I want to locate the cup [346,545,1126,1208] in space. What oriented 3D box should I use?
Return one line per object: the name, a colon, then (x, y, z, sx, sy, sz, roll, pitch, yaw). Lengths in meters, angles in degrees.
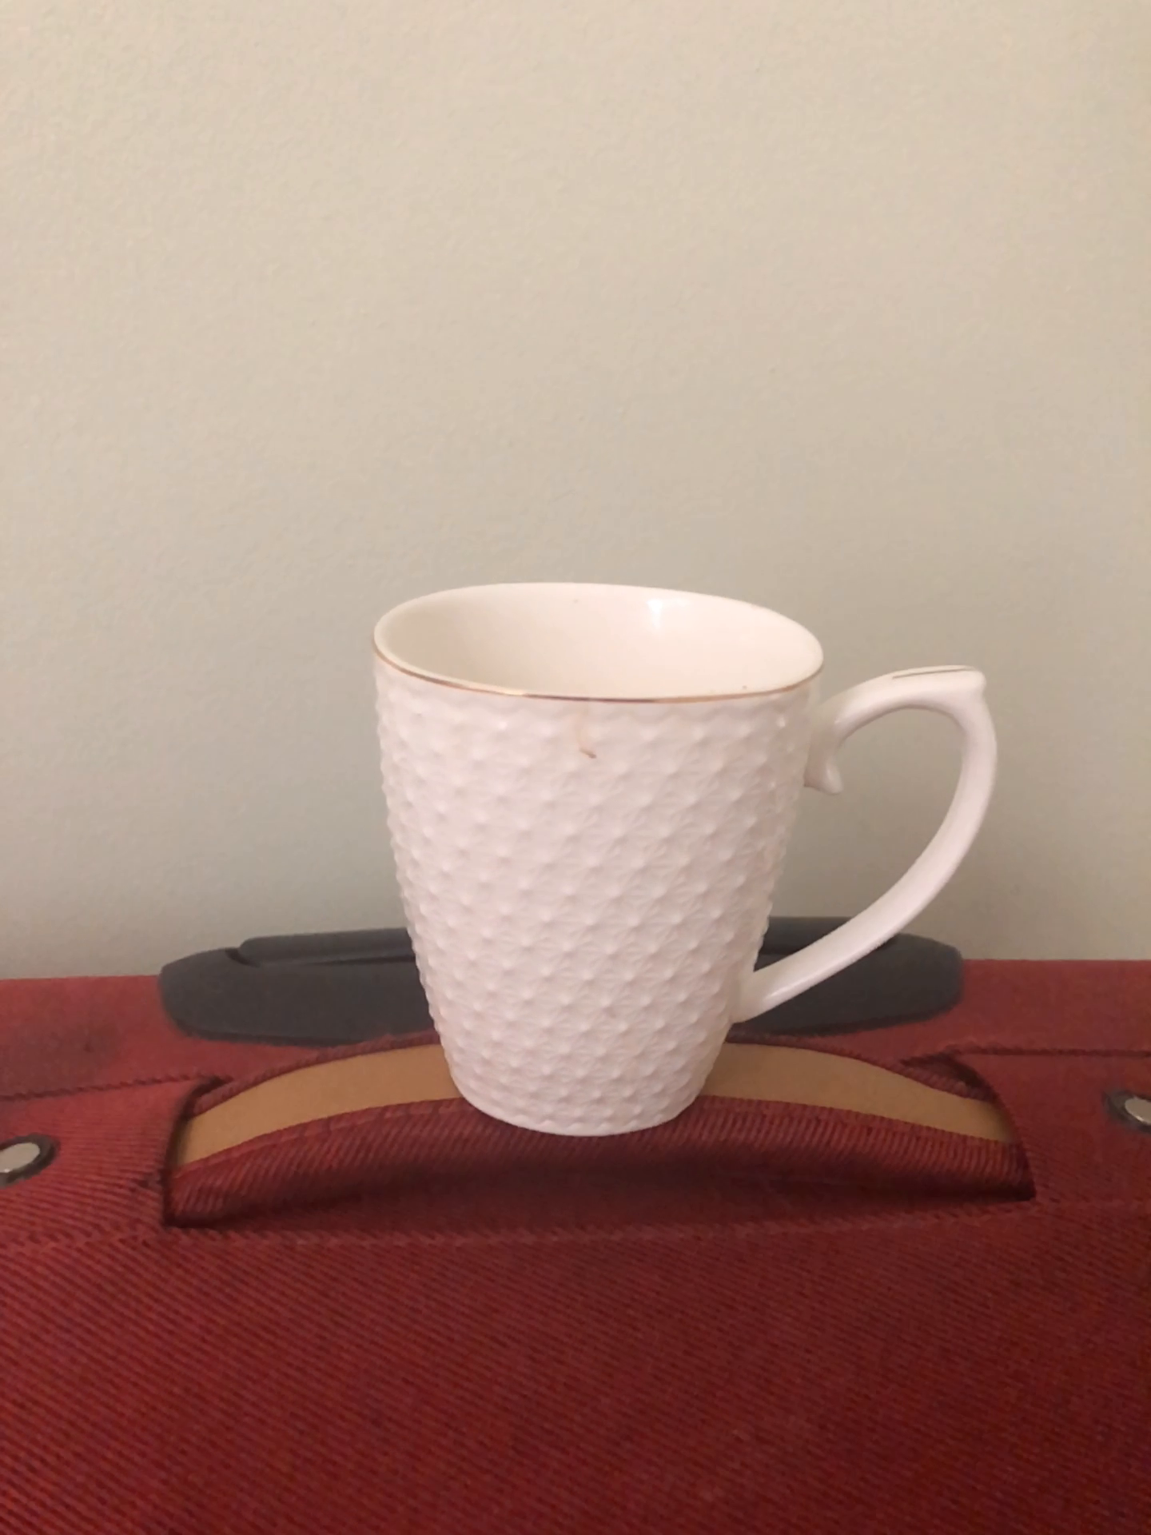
cup: (0.019, 0.012, 0.230, 0.111, 0.084, 0.075, -4, 23, -12)
